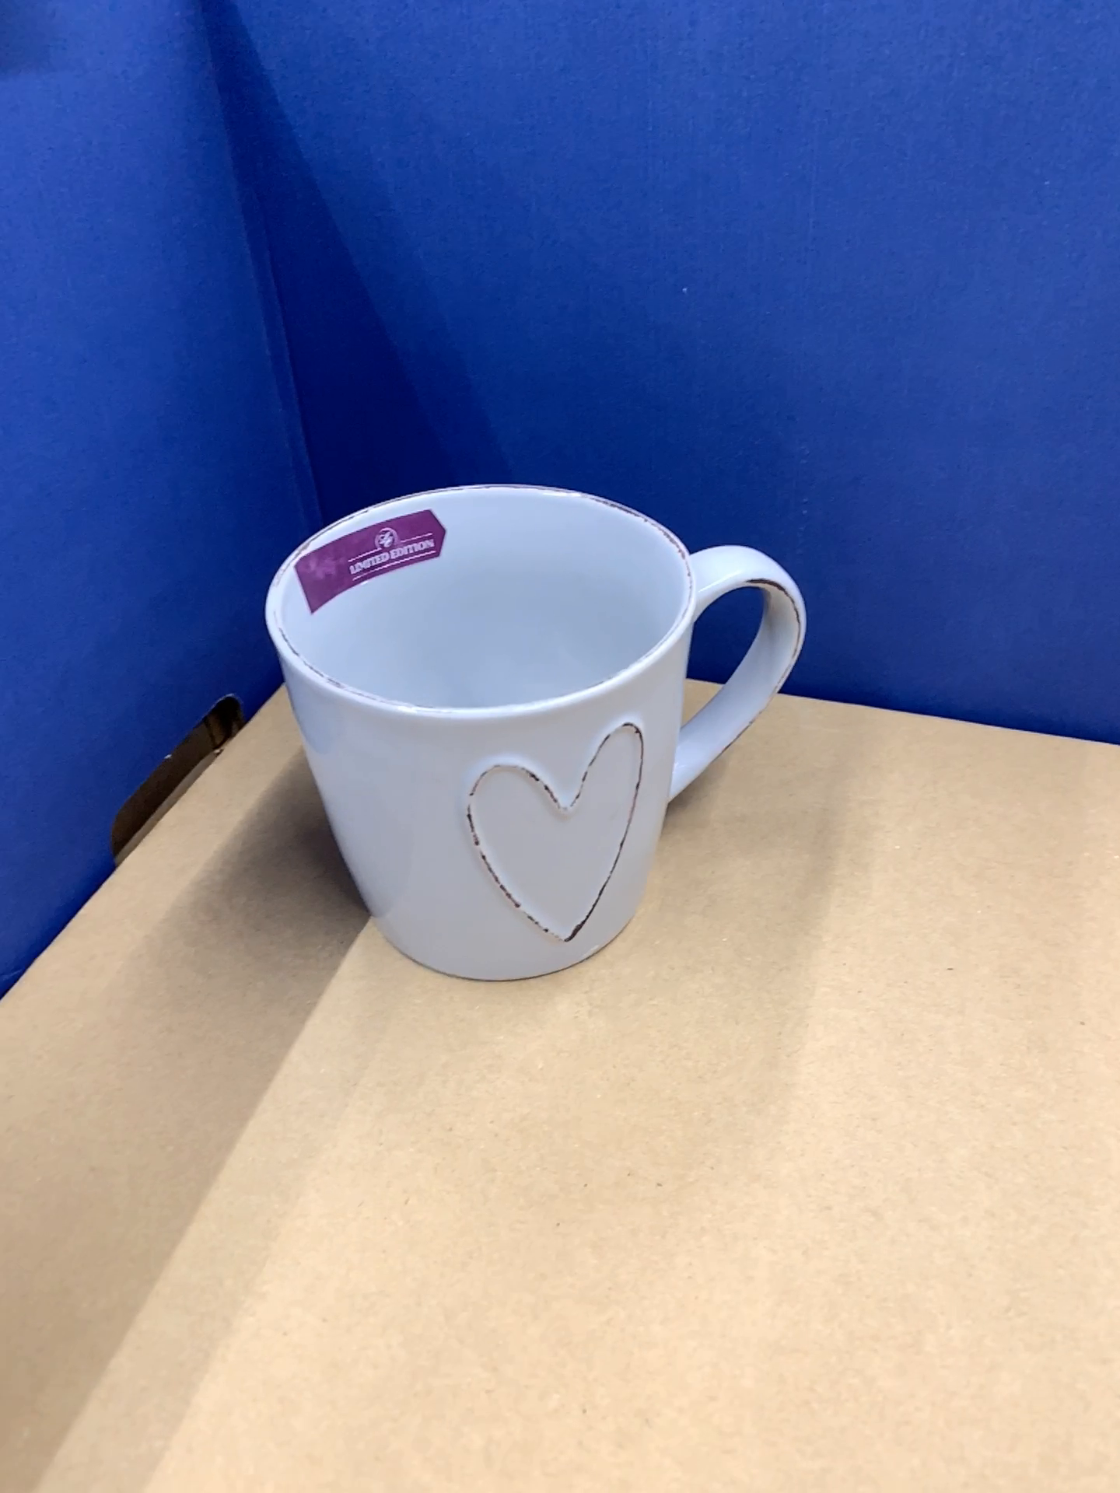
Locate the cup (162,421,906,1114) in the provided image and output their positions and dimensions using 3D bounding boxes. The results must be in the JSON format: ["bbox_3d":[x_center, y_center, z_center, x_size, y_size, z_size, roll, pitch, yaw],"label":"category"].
[{"bbox_3d":[-0.005,-0.005,0.264,0.125,0.085,0.091,-23,41,-25],"label":"cup"}]
